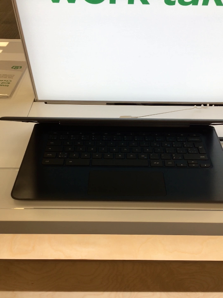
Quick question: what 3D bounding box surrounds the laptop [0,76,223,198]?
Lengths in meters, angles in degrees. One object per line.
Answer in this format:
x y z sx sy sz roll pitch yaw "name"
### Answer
0.013 -0.026 0.494 0.360 0.121 0.192 1 44 0 "laptop"
